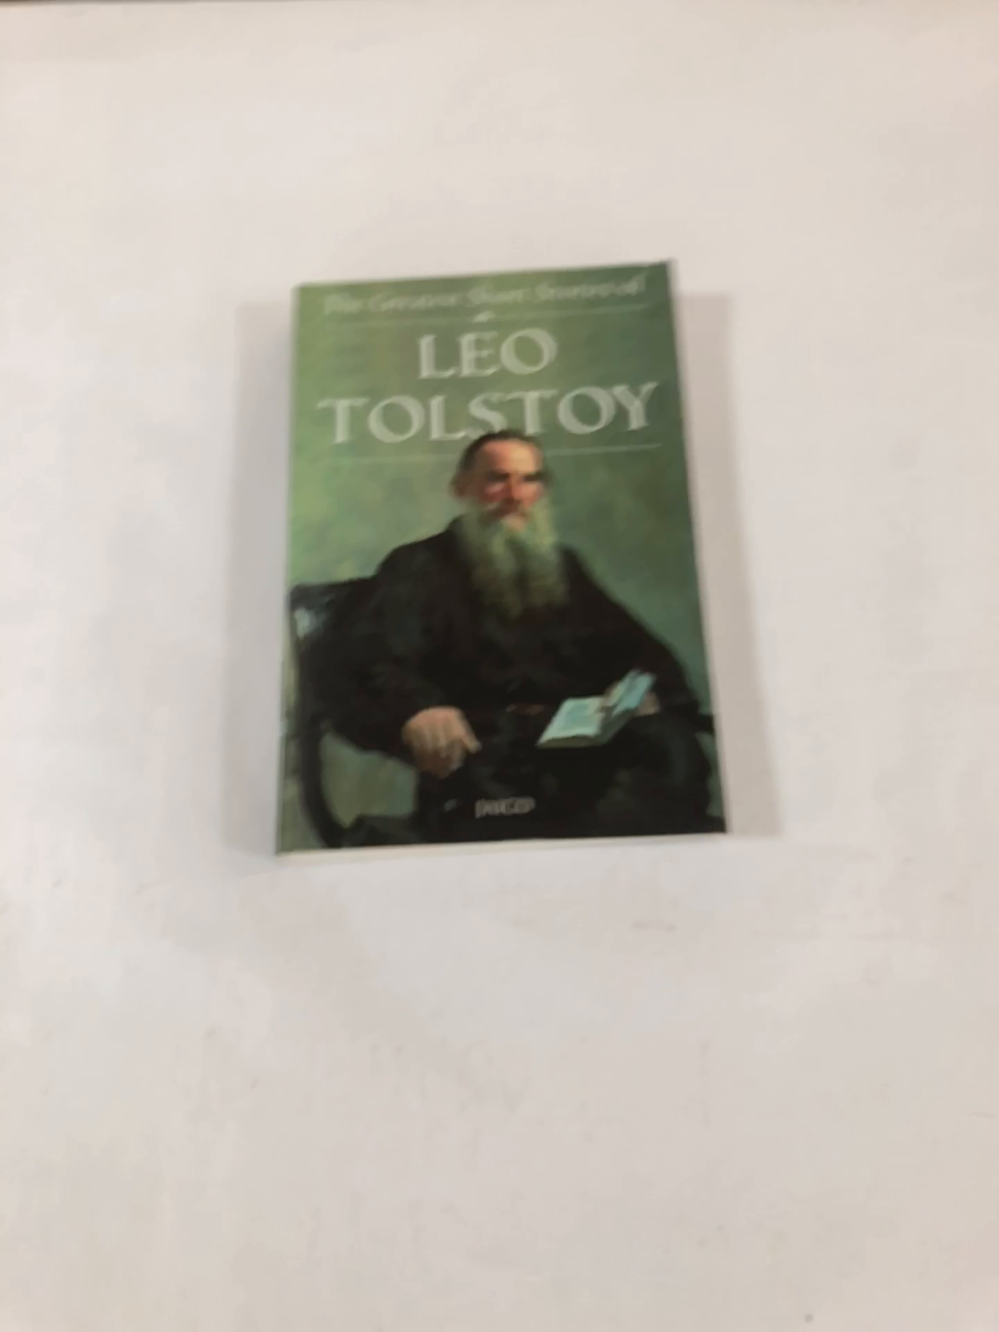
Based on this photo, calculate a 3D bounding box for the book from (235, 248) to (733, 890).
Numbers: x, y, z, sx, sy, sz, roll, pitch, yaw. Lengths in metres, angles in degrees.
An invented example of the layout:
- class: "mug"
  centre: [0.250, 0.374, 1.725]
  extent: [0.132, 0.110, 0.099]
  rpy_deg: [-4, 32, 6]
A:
- class: "book"
  centre: [-0.010, -0.043, 0.390]
  extent: [0.150, 0.020, 0.230]
  rpy_deg: [-3, 68, 0]
